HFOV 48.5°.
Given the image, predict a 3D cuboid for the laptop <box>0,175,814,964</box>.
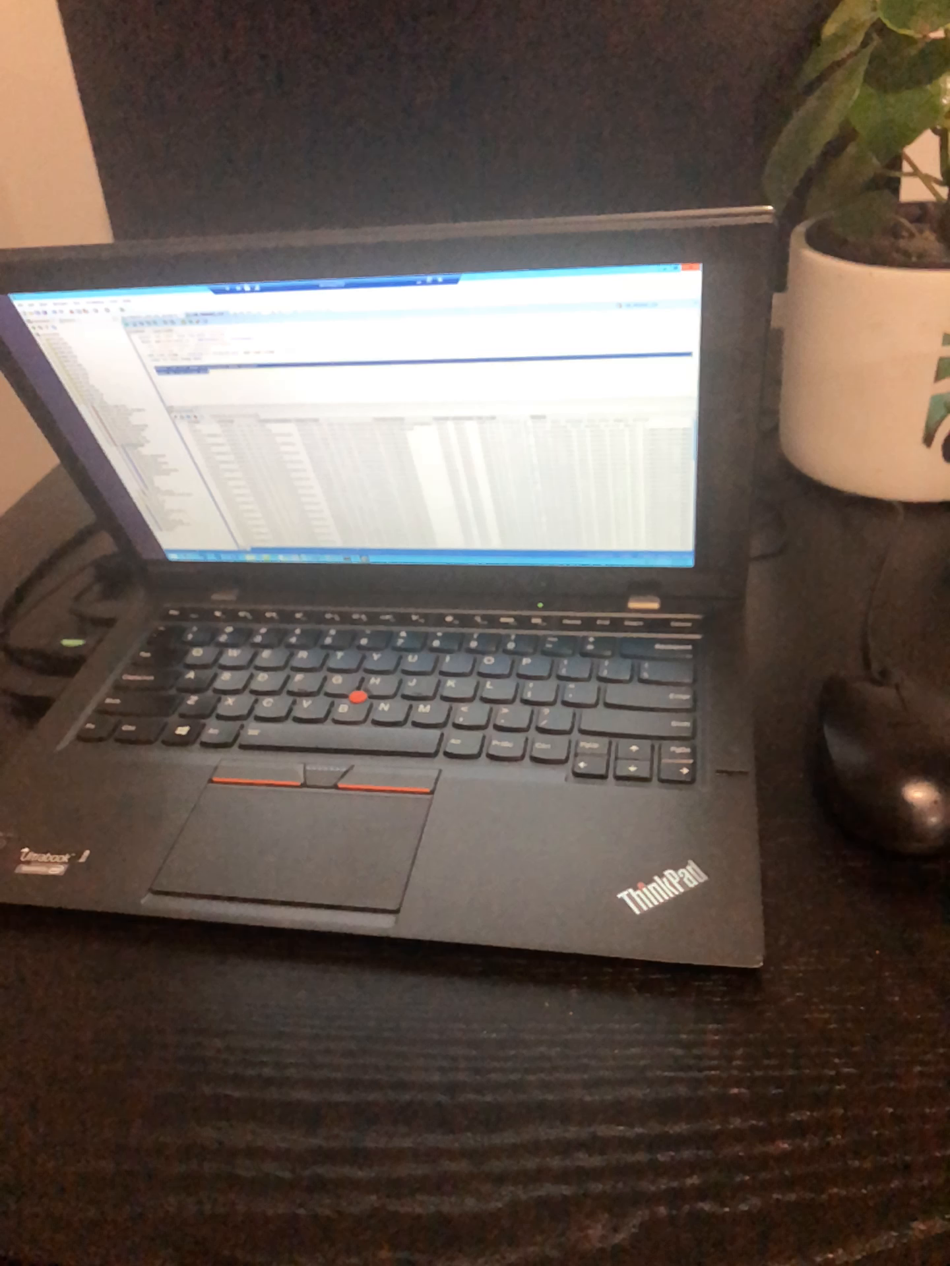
[{"bbox_3d":[-0.057,-0.046,0.441,0.340,0.214,0.245,1,32,12],"label":"laptop"}]
